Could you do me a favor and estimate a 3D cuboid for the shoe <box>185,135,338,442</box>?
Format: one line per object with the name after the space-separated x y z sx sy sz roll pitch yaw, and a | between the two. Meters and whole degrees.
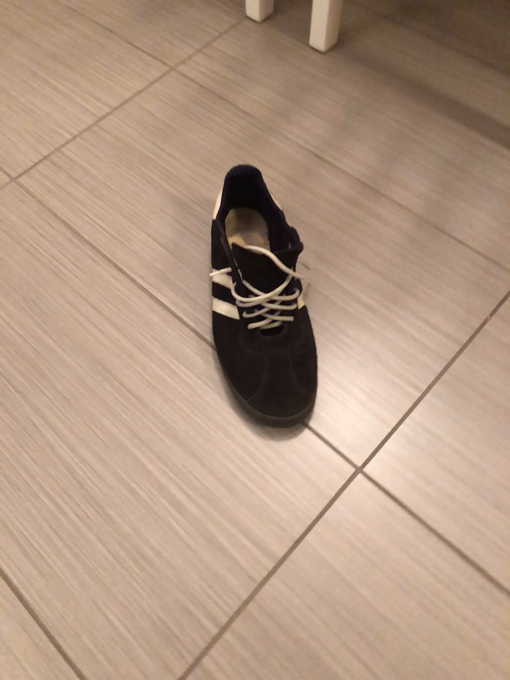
0.000 -0.064 0.614 0.110 0.120 0.311 -9 60 -1 | shoe
